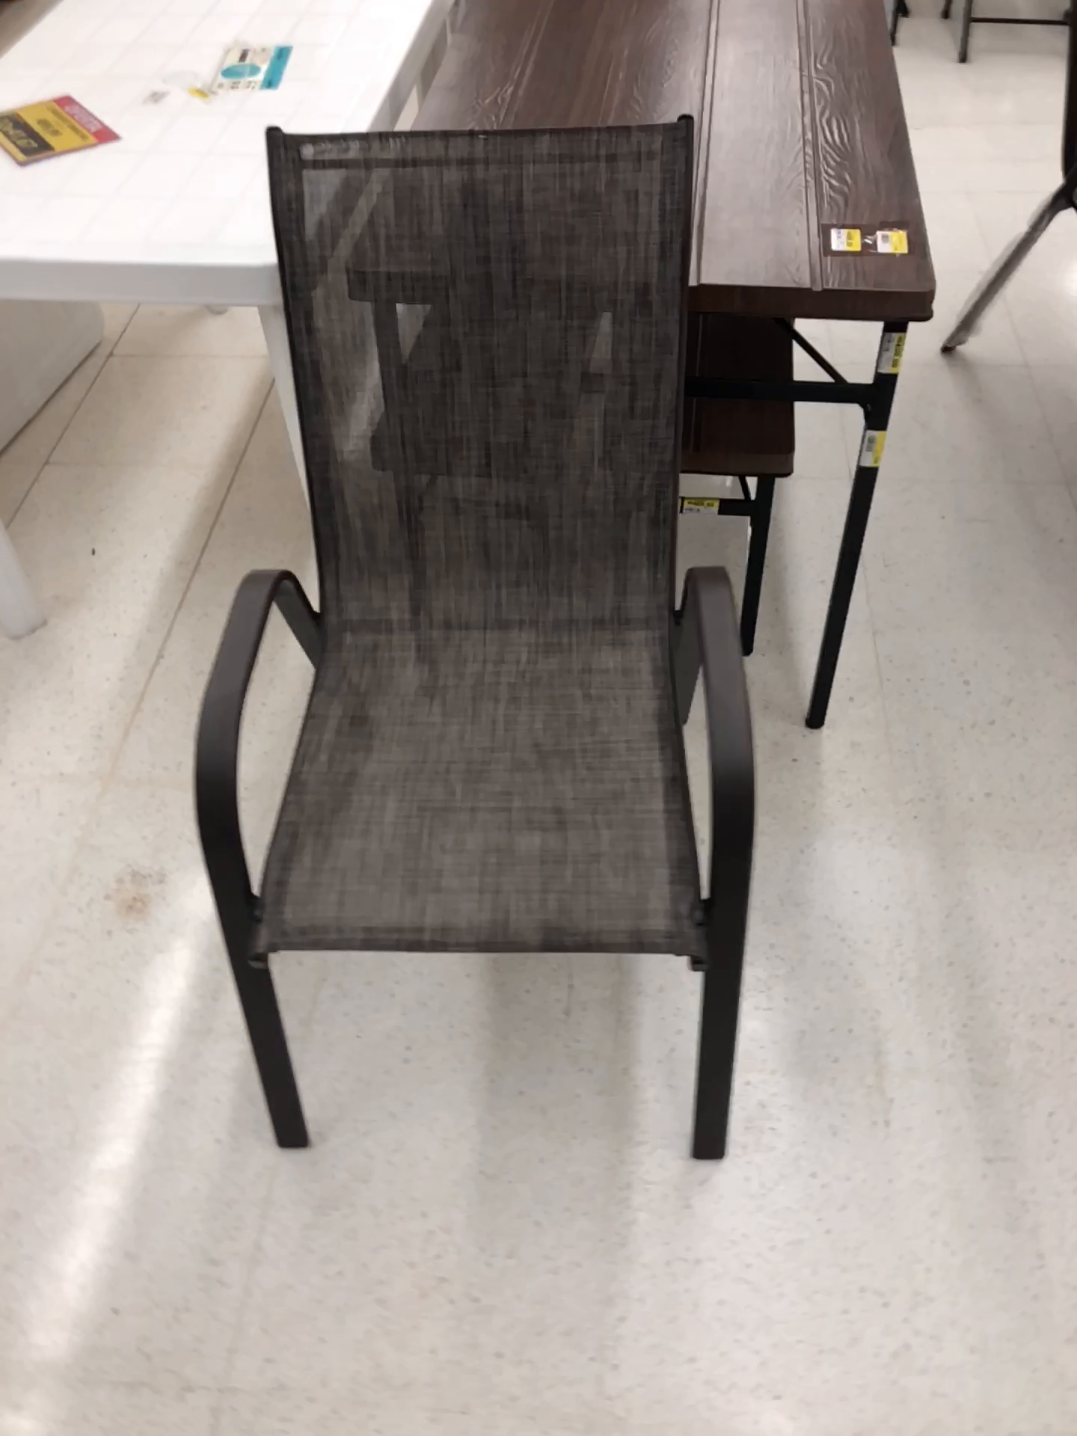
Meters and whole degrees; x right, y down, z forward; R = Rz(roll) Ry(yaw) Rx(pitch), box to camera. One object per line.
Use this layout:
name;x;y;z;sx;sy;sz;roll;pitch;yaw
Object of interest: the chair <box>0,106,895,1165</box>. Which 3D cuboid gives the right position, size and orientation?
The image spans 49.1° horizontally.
chair;-0.061;-0.055;1.258;0.600;0.853;0.715;0;48;3
